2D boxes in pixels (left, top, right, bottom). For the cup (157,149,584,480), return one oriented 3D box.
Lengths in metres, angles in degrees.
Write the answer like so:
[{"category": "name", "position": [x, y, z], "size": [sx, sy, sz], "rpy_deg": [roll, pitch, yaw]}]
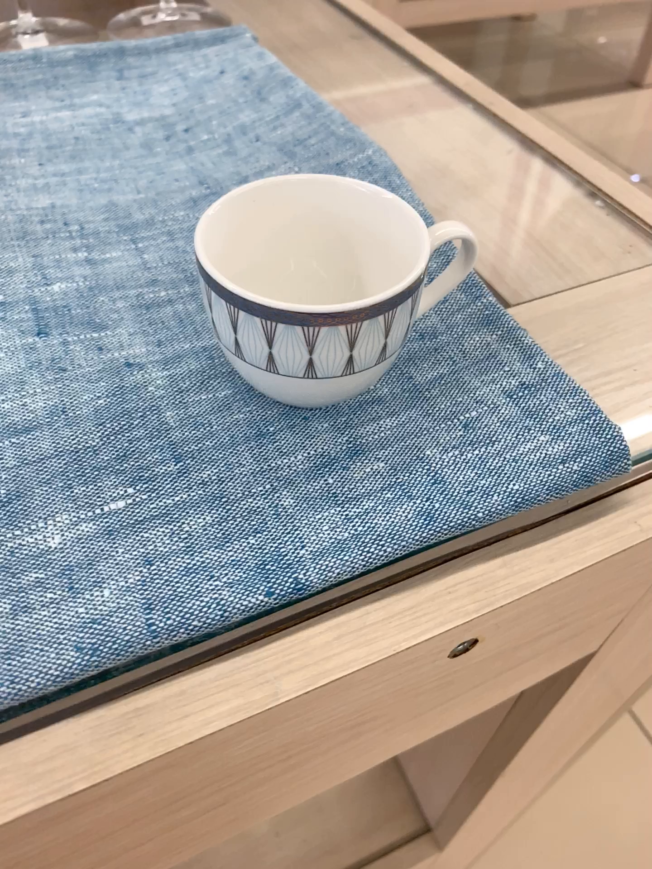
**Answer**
[{"category": "cup", "position": [0.009, -0.039, 0.195], "size": [0.090, 0.040, 0.070], "rpy_deg": [-19, 51, -19]}]
